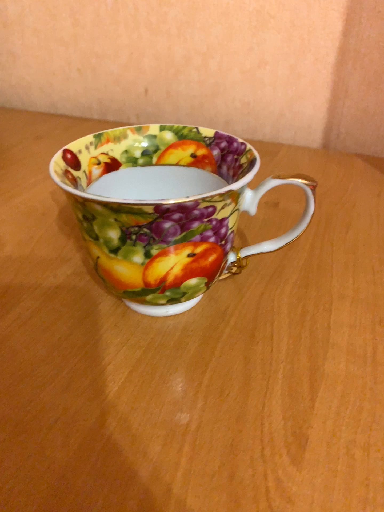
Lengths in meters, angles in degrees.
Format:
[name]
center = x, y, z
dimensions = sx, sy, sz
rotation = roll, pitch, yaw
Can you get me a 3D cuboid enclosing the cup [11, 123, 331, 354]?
[cup]
center = -0.006, -0.014, 0.188
dimensions = 0.106, 0.071, 0.086
rotation = 1, 34, 3
